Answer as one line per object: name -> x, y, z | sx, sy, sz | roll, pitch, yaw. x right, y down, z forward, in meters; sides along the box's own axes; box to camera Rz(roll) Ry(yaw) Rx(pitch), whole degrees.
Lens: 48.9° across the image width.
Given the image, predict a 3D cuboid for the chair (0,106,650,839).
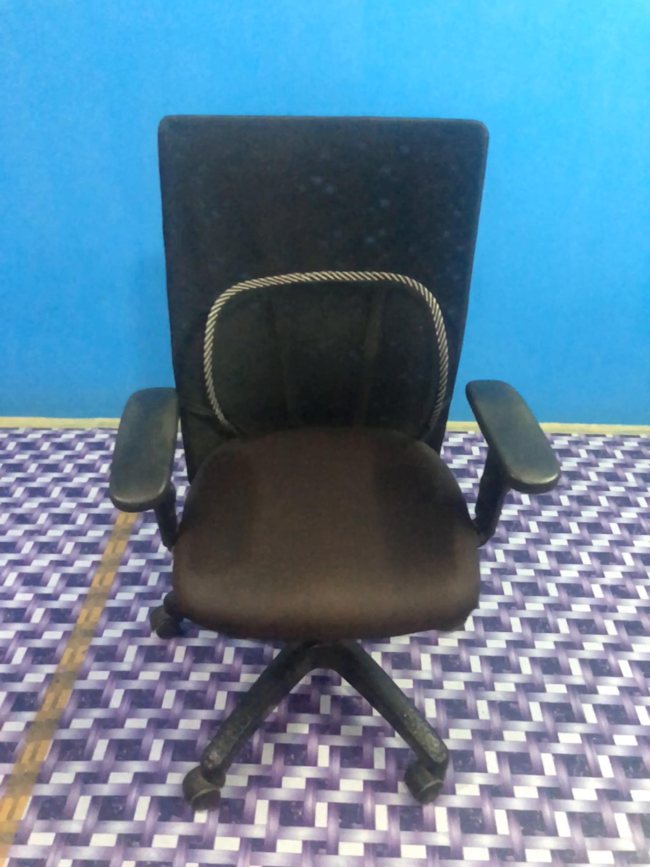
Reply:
chair -> -0.025, 0.032, 1.120 | 0.660, 0.885, 0.673 | -3, 34, -5
